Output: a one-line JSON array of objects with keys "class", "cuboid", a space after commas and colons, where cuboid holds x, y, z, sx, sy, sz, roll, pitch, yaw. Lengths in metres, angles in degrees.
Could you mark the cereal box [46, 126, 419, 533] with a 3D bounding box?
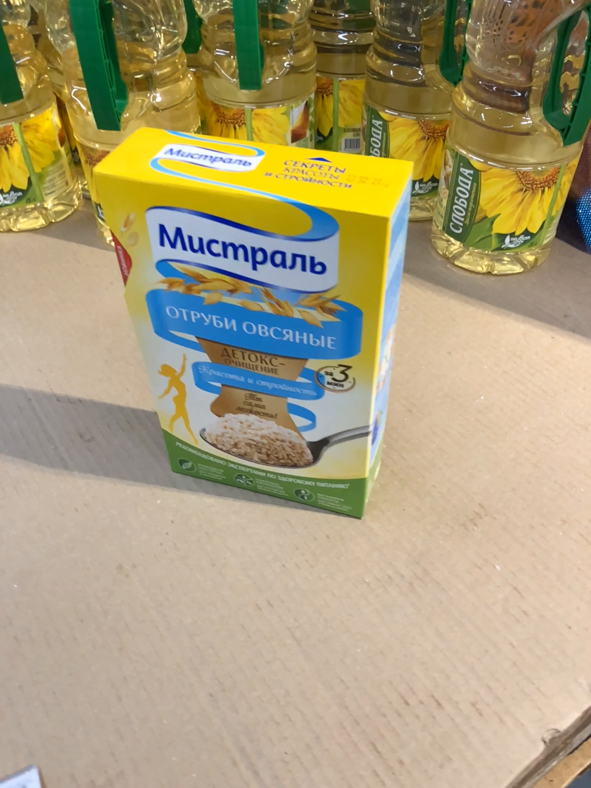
[{"class": "cereal box", "cuboid": [-0.023, -0.022, 0.349, 0.150, 0.209, 0.050, 12, 48, 14]}]
